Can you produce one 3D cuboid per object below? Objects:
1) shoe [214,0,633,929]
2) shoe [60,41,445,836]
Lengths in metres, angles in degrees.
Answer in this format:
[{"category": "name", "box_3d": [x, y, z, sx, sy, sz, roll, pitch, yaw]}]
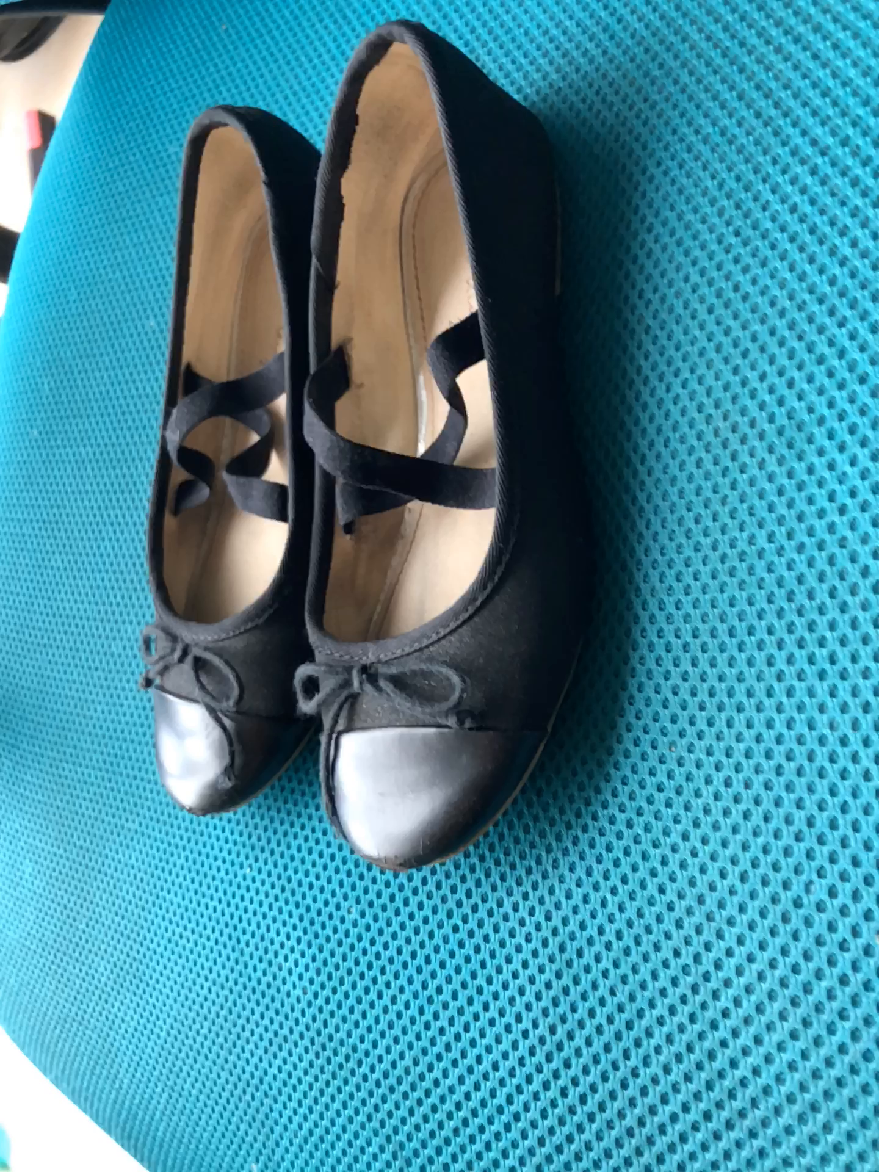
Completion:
[{"category": "shoe", "box_3d": [-0.002, -0.029, 0.226, 0.069, 0.050, 0.190, -2, 81, 42]}, {"category": "shoe", "box_3d": [-0.053, -0.036, 0.280, 0.081, 0.050, 0.193, 0, 83, 42]}]
